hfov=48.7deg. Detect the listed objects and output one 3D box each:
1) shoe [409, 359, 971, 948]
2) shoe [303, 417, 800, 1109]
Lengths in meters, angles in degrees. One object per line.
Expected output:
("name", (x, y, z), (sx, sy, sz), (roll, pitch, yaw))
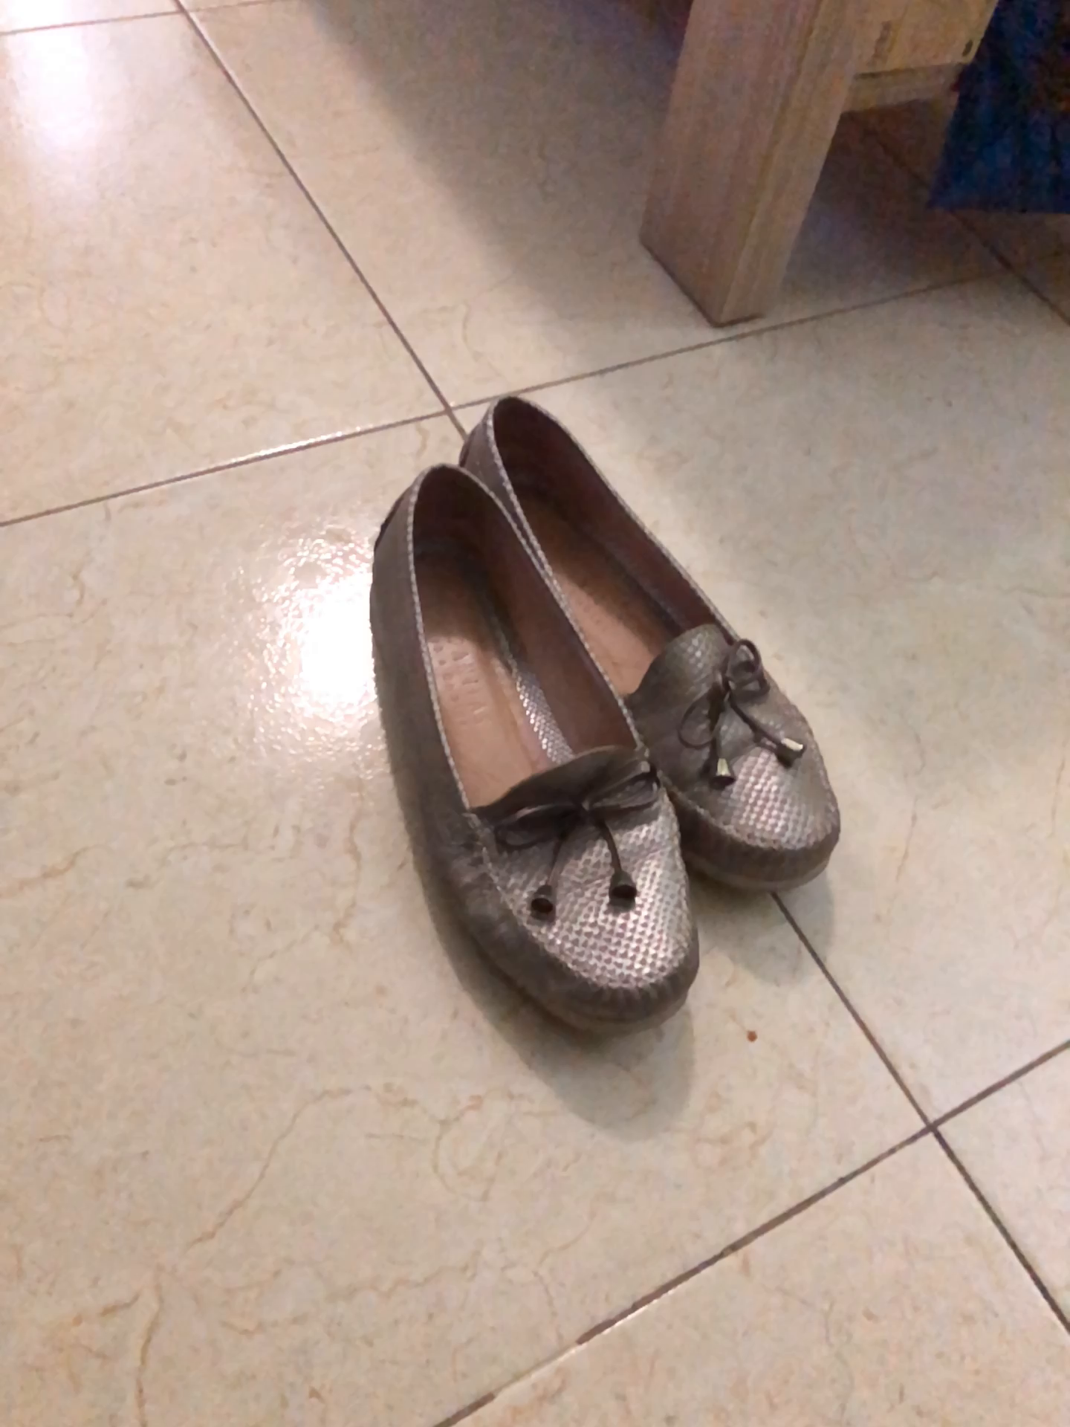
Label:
("shoe", (0.057, -0.039, 0.552), (0.100, 0.080, 0.270), (-27, 63, -24))
("shoe", (-0.010, 0.006, 0.532), (0.100, 0.080, 0.301), (-16, 59, -18))
